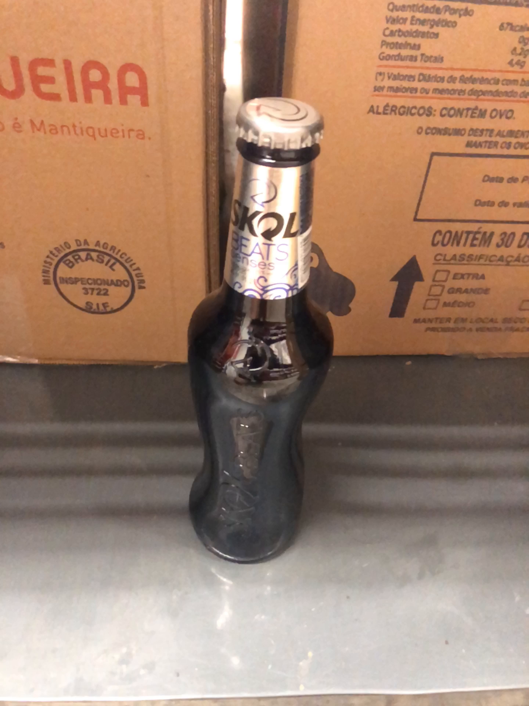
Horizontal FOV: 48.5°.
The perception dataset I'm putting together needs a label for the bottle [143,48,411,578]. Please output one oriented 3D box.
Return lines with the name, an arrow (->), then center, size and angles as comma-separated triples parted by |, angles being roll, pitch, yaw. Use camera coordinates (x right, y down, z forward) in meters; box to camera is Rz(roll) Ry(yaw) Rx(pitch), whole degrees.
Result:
bottle -> -0.001, 0.007, 0.259 | 0.070, 0.238, 0.071 | 2, 43, -2
